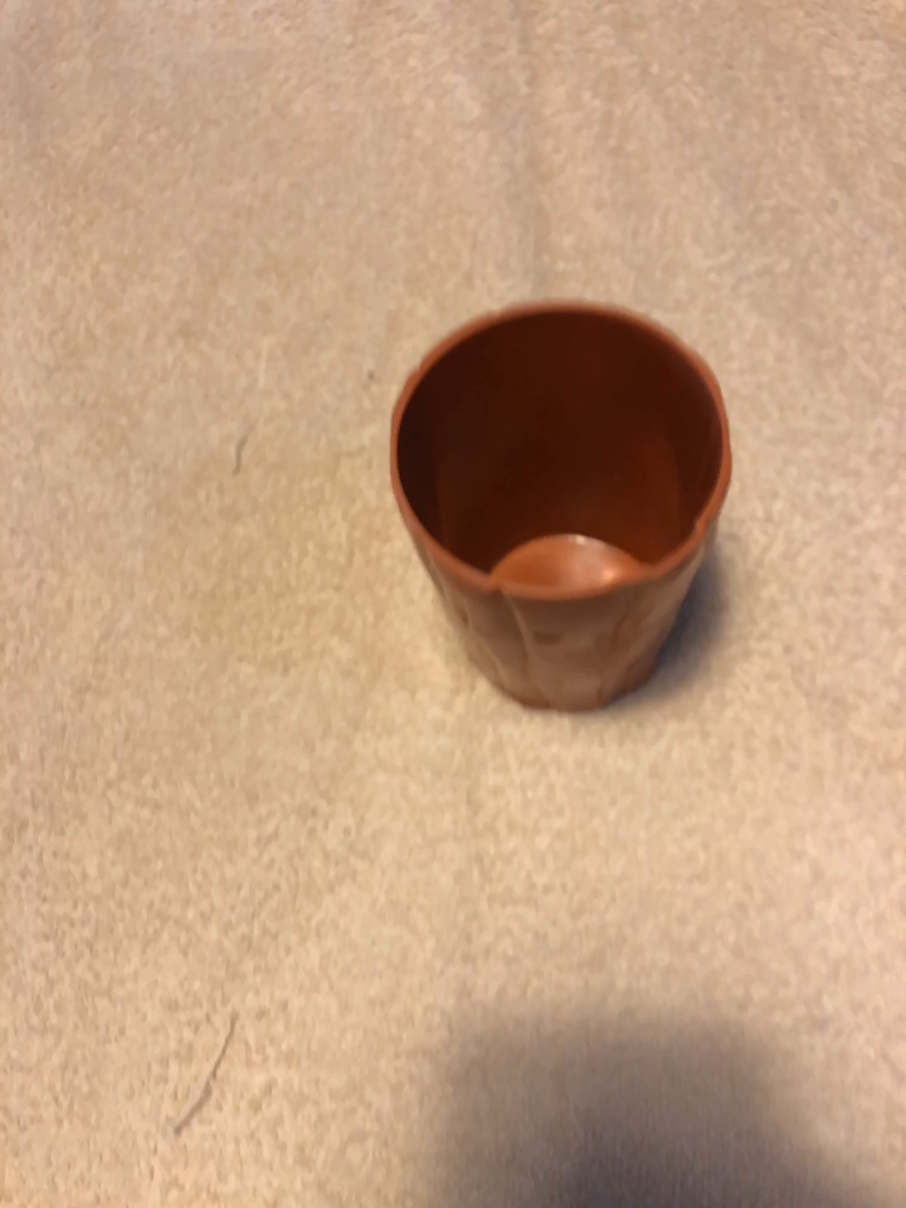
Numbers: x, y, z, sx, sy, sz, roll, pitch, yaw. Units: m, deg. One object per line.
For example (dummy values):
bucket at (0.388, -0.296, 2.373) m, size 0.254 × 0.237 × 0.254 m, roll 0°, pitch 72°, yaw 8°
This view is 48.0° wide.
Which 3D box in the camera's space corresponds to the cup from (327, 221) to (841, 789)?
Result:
cup at (0.032, -0.019, 0.281) m, size 0.080 × 0.110 × 0.090 m, roll -30°, pitch 68°, yaw -6°
